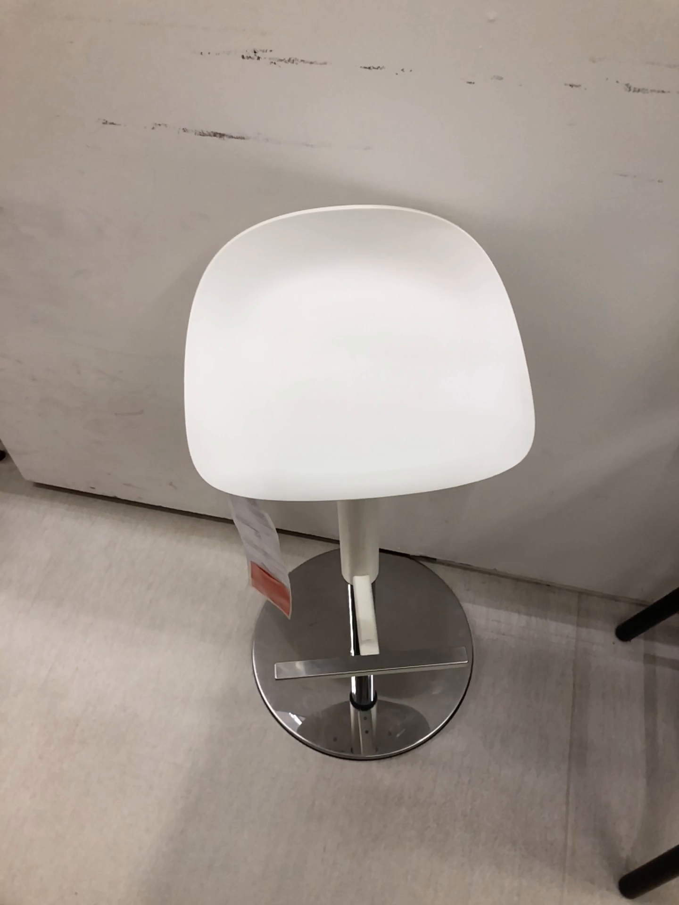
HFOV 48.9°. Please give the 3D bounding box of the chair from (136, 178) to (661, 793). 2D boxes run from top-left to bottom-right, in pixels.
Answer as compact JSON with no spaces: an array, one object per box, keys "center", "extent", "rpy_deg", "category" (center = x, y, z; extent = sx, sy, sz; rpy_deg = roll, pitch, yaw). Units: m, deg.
[{"center":[0.042,0.101,1.073],"extent":[0.440,0.746,0.513],"rpy_deg":[-5,52,-1],"category":"chair"}]
